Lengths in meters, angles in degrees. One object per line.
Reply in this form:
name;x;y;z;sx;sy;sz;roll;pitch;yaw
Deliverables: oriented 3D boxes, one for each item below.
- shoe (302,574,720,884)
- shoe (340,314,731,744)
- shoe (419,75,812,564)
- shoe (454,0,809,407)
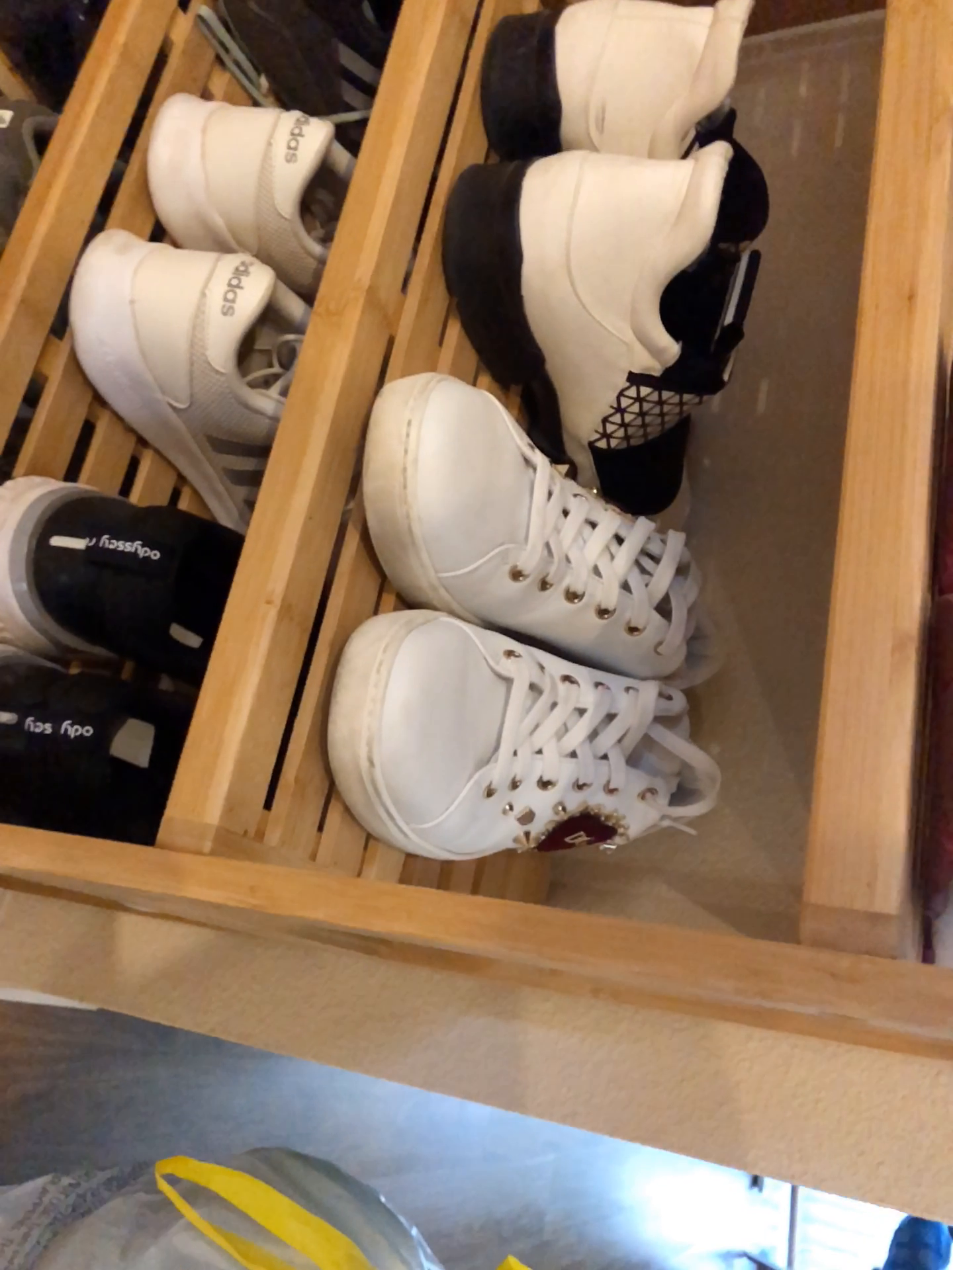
shoe;0.036;0.048;0.477;0.262;0.080;0.100;18;75;-63
shoe;0.045;-0.026;0.460;0.252;0.070;0.090;36;60;-59
shoe;0.079;-0.125;0.492;0.211;0.113;0.090;50;48;-54
shoe;0.092;-0.222;0.538;0.211;0.113;0.090;50;48;-54
